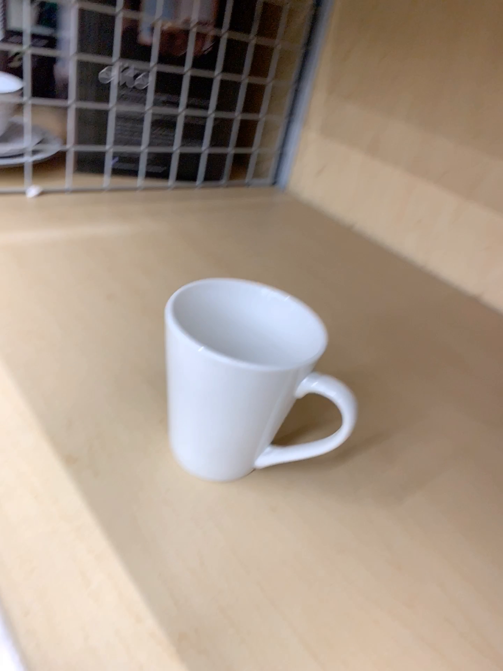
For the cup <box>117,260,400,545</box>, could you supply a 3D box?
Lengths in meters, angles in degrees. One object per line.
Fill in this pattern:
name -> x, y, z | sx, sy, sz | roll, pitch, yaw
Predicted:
cup -> 0.002, 0.033, 0.315 | 0.129, 0.090, 0.094 | 25, 36, 16
